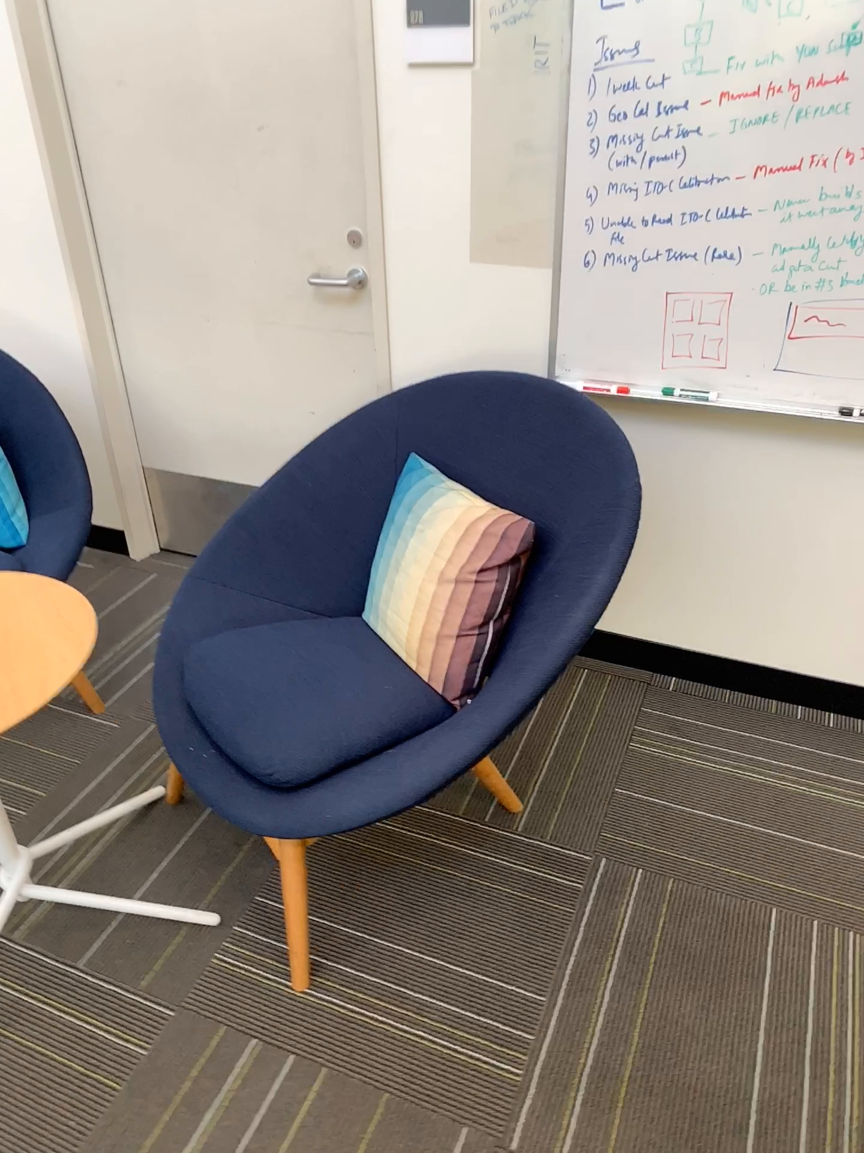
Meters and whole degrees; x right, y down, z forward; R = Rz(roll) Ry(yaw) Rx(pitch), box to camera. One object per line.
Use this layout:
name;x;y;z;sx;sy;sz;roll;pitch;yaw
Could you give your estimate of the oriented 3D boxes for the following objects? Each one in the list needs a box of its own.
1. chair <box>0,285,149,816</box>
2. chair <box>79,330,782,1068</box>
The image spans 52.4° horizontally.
chair;-1.266;-0.143;2.138;0.790;0.835;0.845;-17;34;-24
chair;-0.049;0.142;1.797;0.980;0.944;0.835;-15;34;-21
